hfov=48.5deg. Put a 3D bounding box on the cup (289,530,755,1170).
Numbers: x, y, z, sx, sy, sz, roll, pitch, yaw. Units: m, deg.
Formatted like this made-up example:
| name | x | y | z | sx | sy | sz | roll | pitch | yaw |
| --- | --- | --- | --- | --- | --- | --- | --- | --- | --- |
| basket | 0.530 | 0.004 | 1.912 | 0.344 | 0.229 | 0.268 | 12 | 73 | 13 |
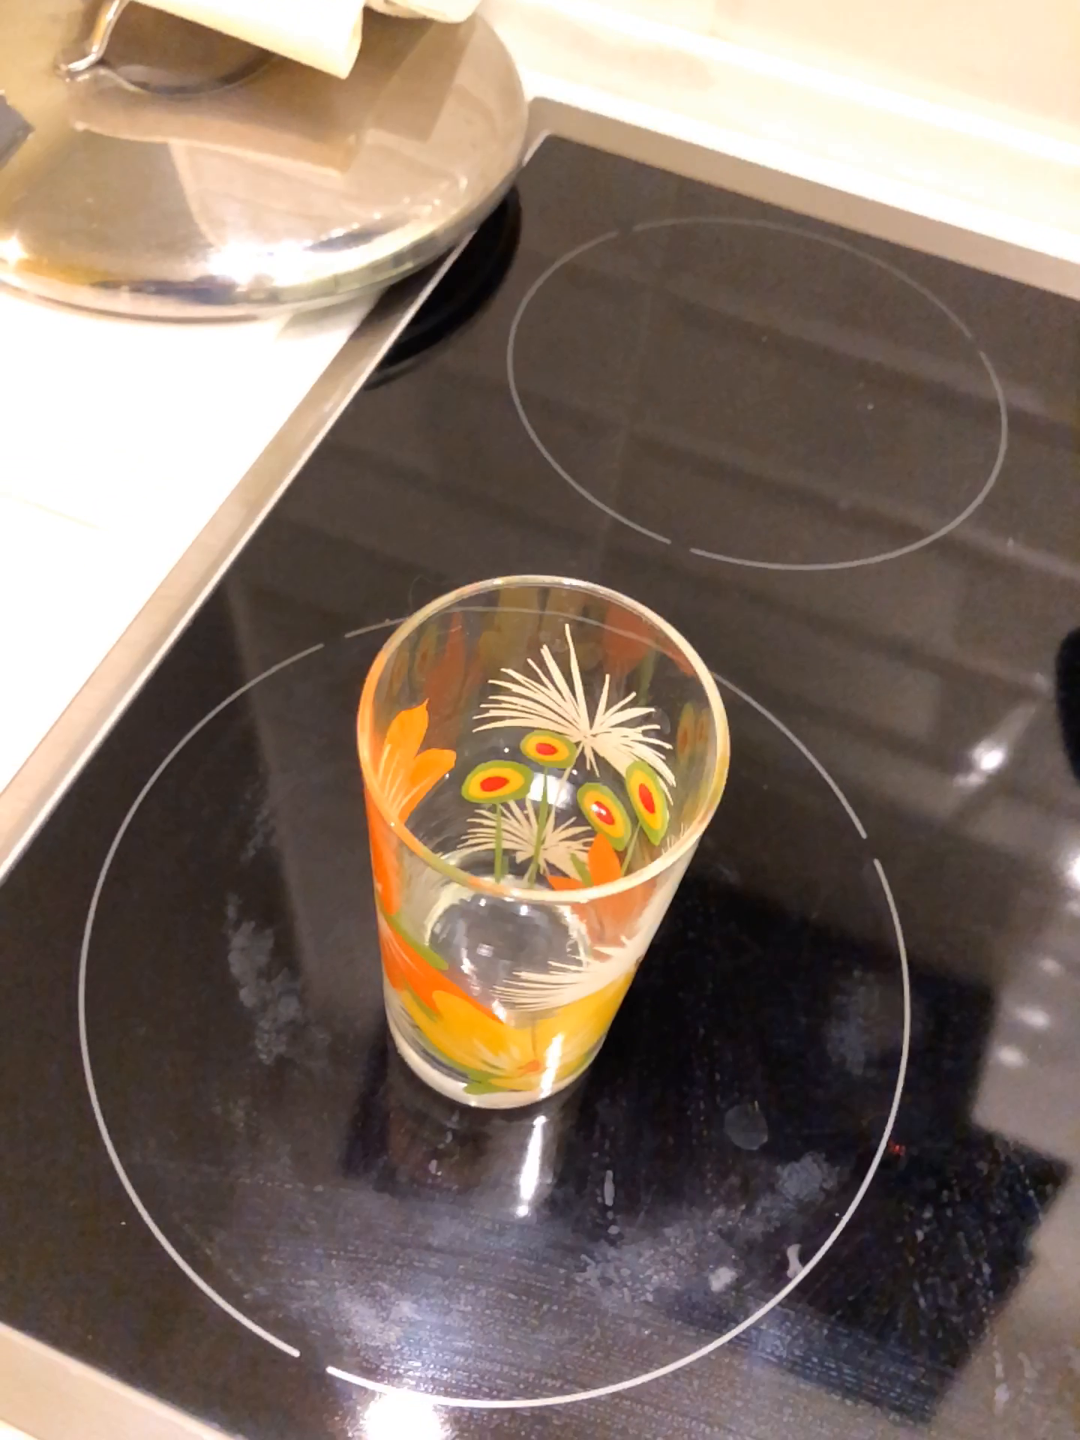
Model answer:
| name | x | y | z | sx | sy | sz | roll | pitch | yaw |
| --- | --- | --- | --- | --- | --- | --- | --- | --- | --- |
| cup | -0.005 | 0.037 | 0.252 | 0.062 | 0.138 | 0.067 | 3 | 57 | -4 |
